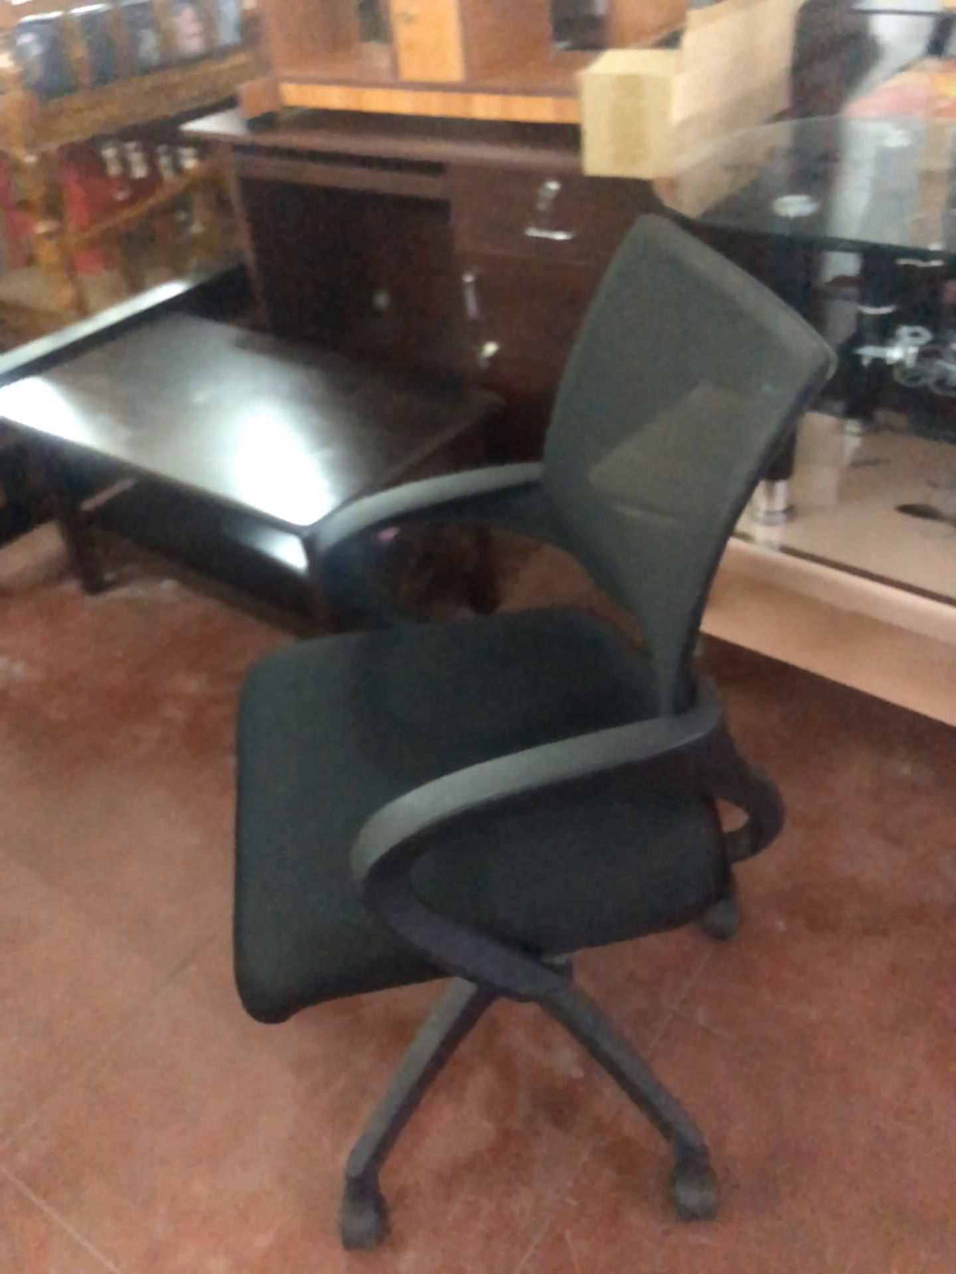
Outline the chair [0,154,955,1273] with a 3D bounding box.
[{"bbox_3d":[0.021,0.095,1.150,0.630,0.915,0.753,-11,37,-6],"label":"chair"}]
